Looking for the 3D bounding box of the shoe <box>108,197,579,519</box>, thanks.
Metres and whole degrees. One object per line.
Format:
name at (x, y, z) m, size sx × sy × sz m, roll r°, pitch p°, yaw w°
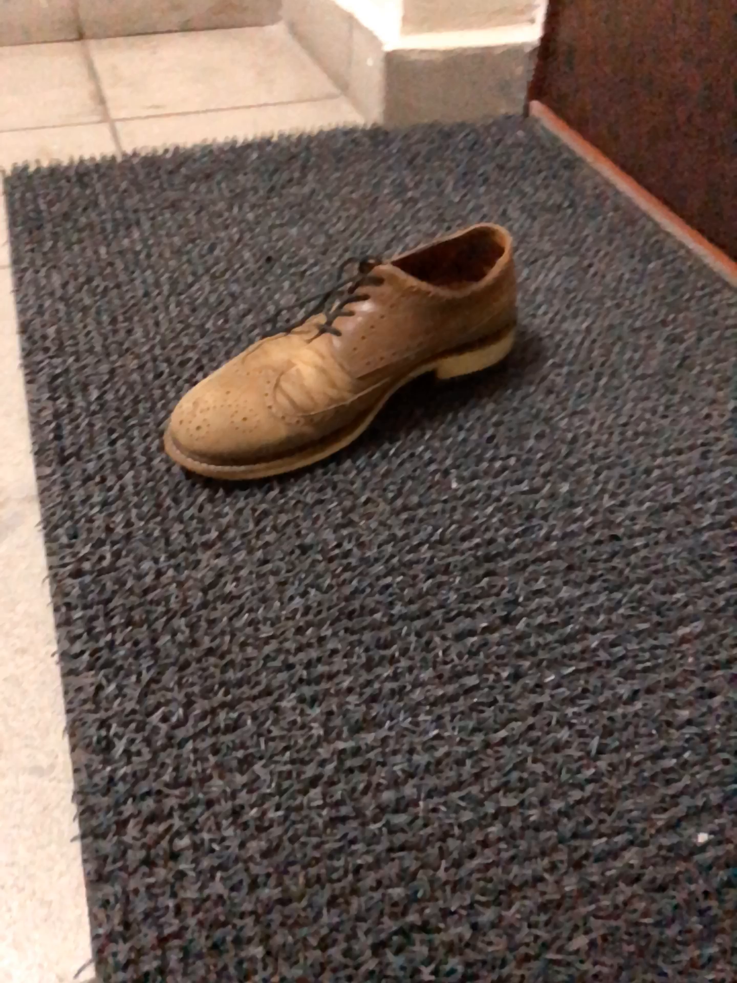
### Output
shoe at (-0.010, -0.106, 0.573) m, size 0.301 × 0.099 × 0.110 m, roll -24°, pitch 52°, yaw -24°
